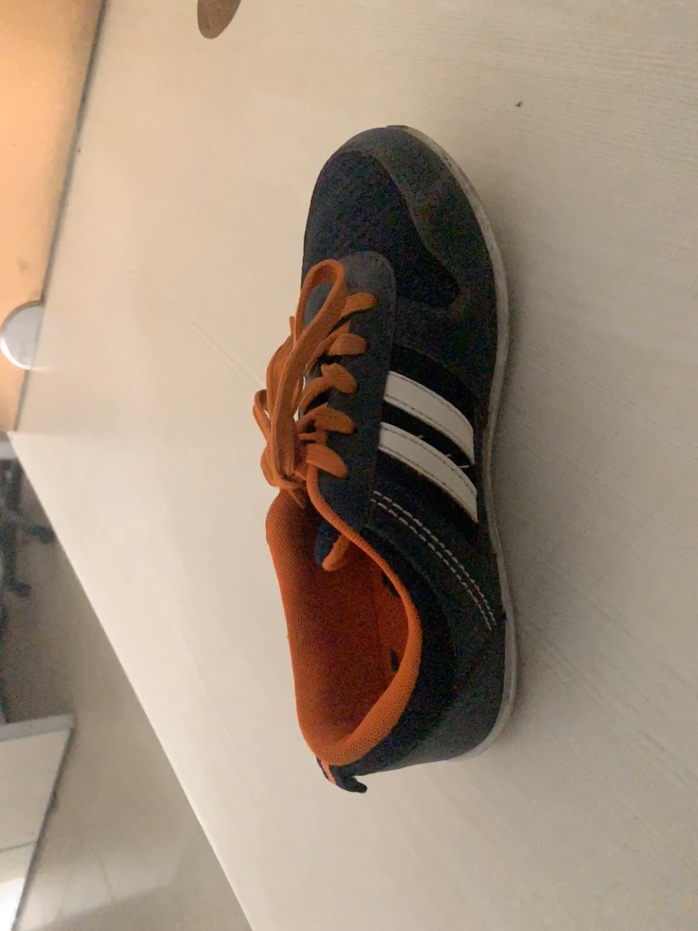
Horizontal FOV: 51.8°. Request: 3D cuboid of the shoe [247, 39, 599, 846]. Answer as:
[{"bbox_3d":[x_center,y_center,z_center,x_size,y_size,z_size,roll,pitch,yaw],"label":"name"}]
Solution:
[{"bbox_3d":[0.022,-0.008,0.283,0.101,0.079,0.250,-10,78,49],"label":"shoe"}]
